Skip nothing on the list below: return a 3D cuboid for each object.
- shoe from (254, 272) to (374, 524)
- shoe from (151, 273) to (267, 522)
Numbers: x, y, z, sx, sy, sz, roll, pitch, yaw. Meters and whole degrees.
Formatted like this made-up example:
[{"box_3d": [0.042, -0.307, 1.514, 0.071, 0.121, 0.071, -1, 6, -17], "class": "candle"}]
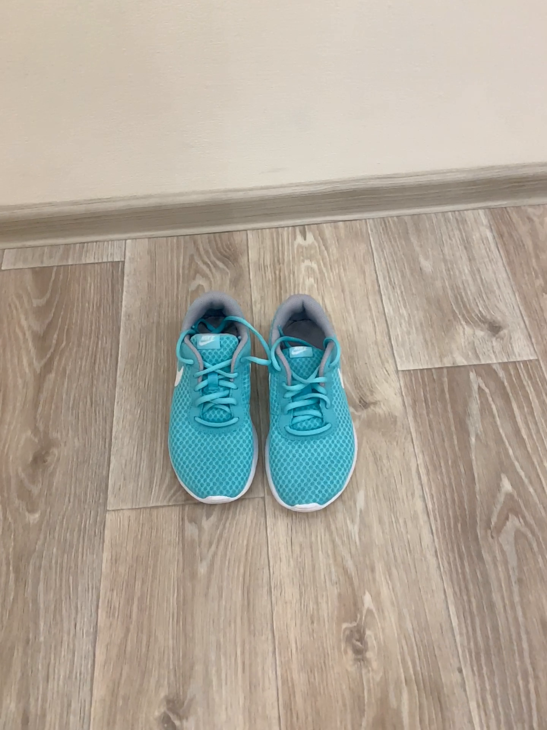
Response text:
[{"box_3d": [0.035, 0.030, 0.602, 0.098, 0.090, 0.251, -4, 60, 0], "class": "shoe"}, {"box_3d": [-0.066, 0.030, 0.608, 0.101, 0.090, 0.251, -4, 60, 0], "class": "shoe"}]
